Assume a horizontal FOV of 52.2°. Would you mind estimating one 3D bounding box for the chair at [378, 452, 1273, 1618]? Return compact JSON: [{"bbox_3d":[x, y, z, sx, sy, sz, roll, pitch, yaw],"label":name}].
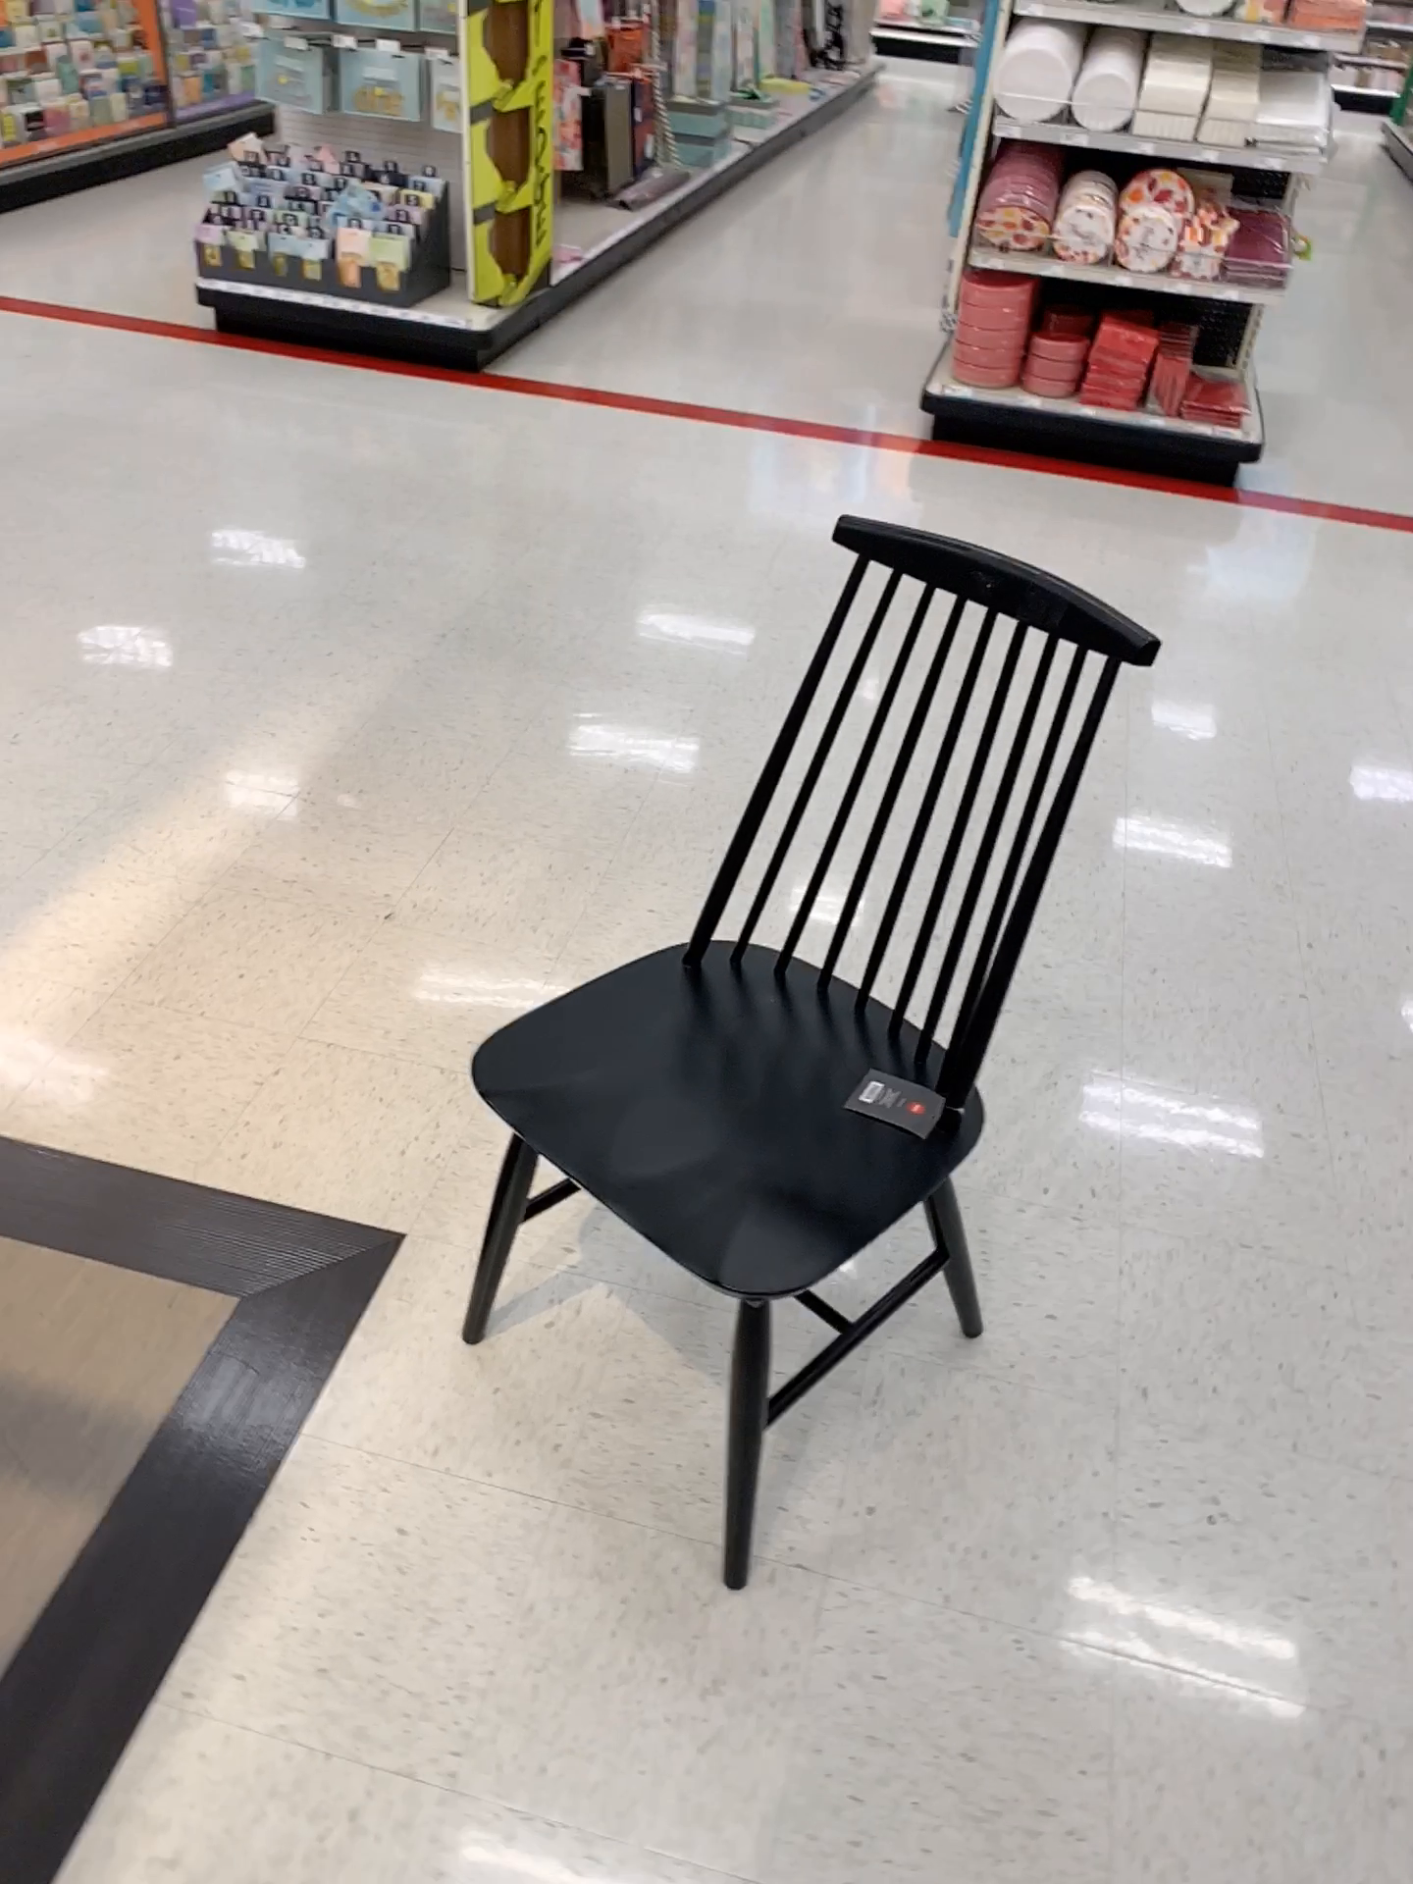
[{"bbox_3d":[0.070,0.089,1.505,0.552,0.945,0.531,-28,48,-36],"label":"chair"}]
